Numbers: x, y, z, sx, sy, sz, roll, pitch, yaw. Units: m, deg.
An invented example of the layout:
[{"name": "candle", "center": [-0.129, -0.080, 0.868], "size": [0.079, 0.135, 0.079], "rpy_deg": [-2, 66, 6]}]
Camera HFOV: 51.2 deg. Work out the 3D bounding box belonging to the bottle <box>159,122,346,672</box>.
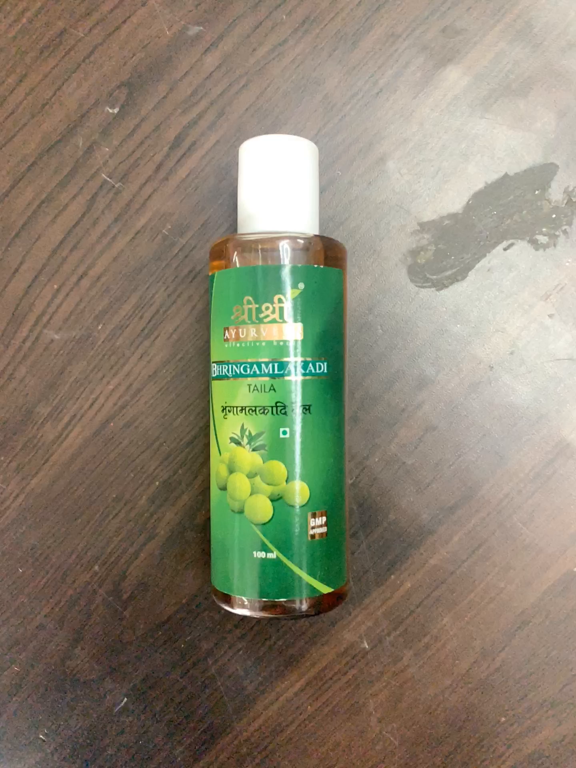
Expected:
[{"name": "bottle", "center": [-0.006, 0.003, 0.154], "size": [0.040, 0.040, 0.120], "rpy_deg": [0, 90, 9]}]
